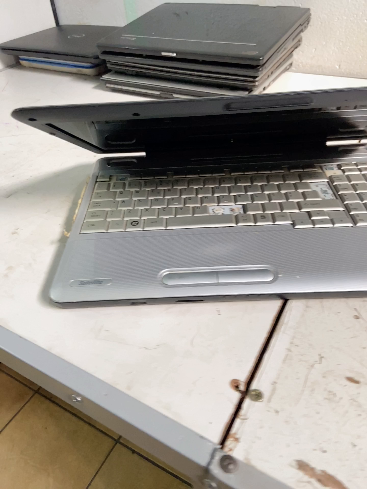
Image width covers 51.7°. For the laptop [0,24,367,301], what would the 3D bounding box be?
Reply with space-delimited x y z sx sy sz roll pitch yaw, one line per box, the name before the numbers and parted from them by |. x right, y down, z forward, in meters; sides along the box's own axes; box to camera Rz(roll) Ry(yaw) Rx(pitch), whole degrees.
laptop | 0.067 -0.099 0.376 0.371 0.143 0.257 -2 41 2
